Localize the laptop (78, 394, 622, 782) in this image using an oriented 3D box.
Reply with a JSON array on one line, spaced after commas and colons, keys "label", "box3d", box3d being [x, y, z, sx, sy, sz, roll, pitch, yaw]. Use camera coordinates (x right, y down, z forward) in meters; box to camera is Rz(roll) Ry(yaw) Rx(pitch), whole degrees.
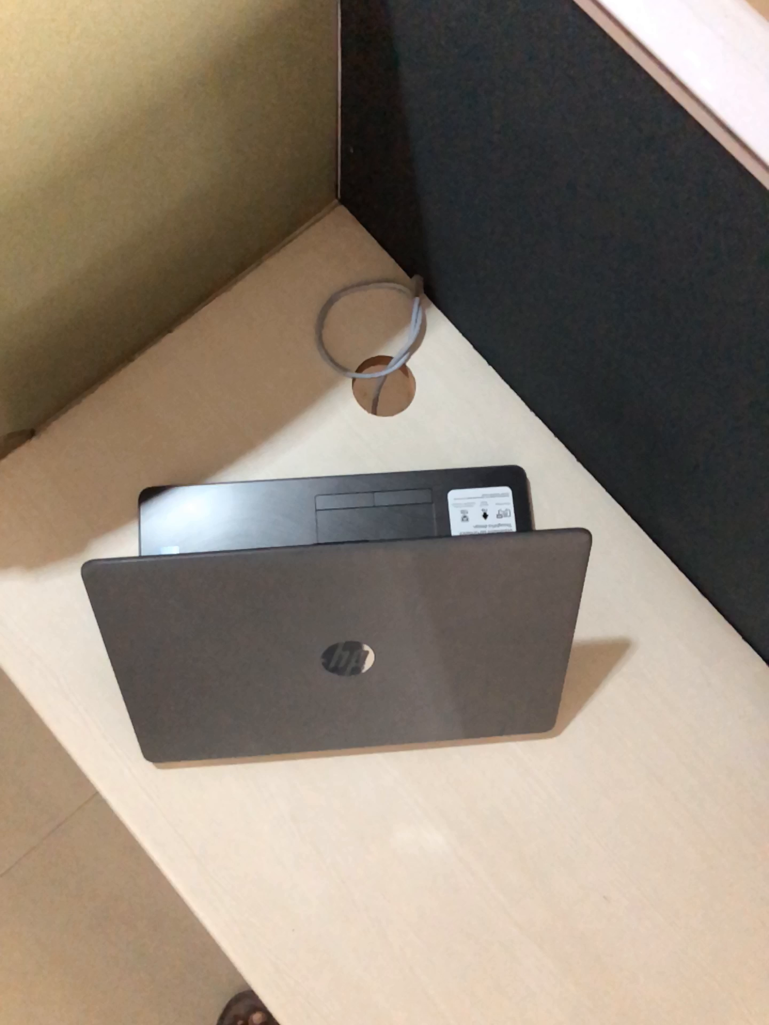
[{"label": "laptop", "box3d": [-0.033, 0.067, 0.688, 0.361, 0.205, 0.247, -4, 80, -3]}]
